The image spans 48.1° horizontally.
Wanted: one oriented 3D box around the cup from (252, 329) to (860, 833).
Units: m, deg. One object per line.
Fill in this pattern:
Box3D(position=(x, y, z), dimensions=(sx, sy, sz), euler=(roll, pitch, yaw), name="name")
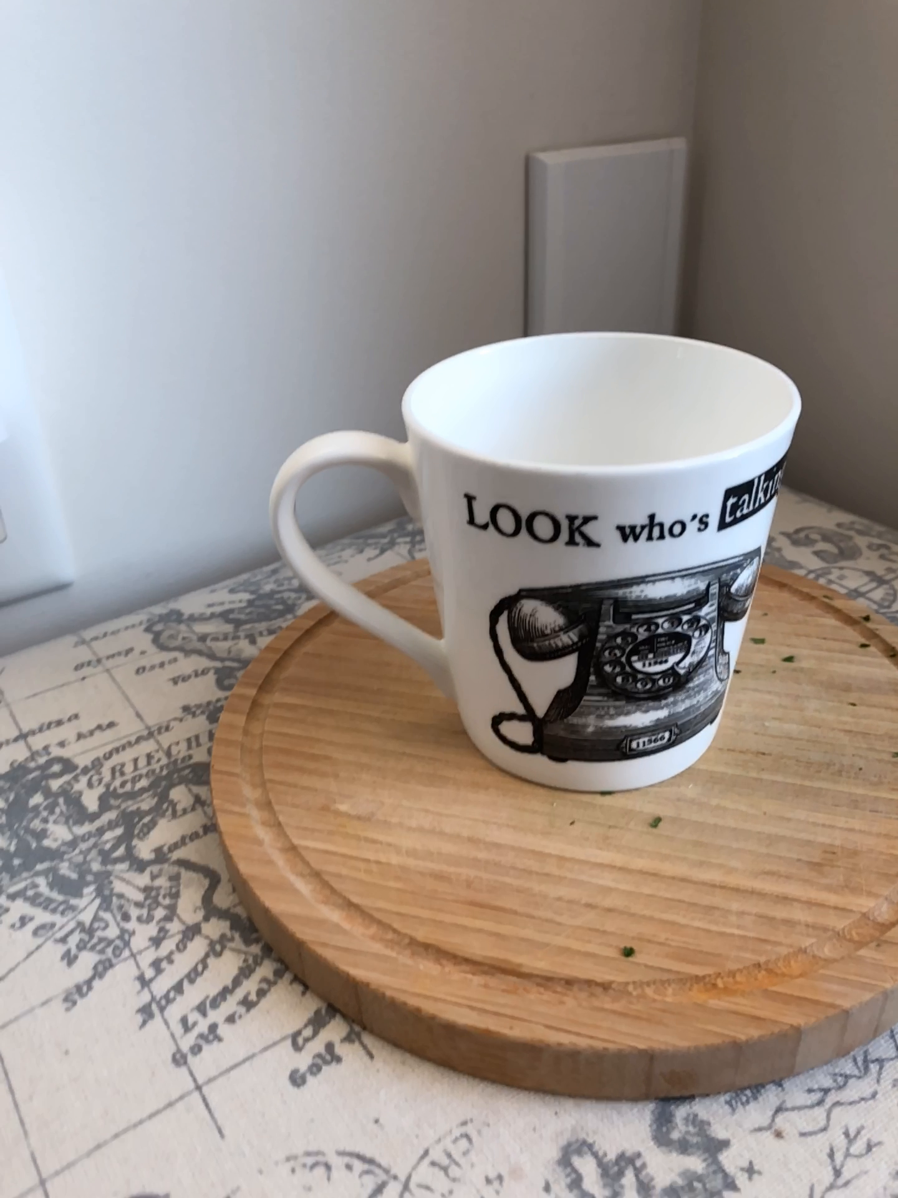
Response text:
Box3D(position=(0.024, -0.011, 0.244), dimensions=(0.111, 0.086, 0.092), euler=(2, 29, 6), name="cup")
